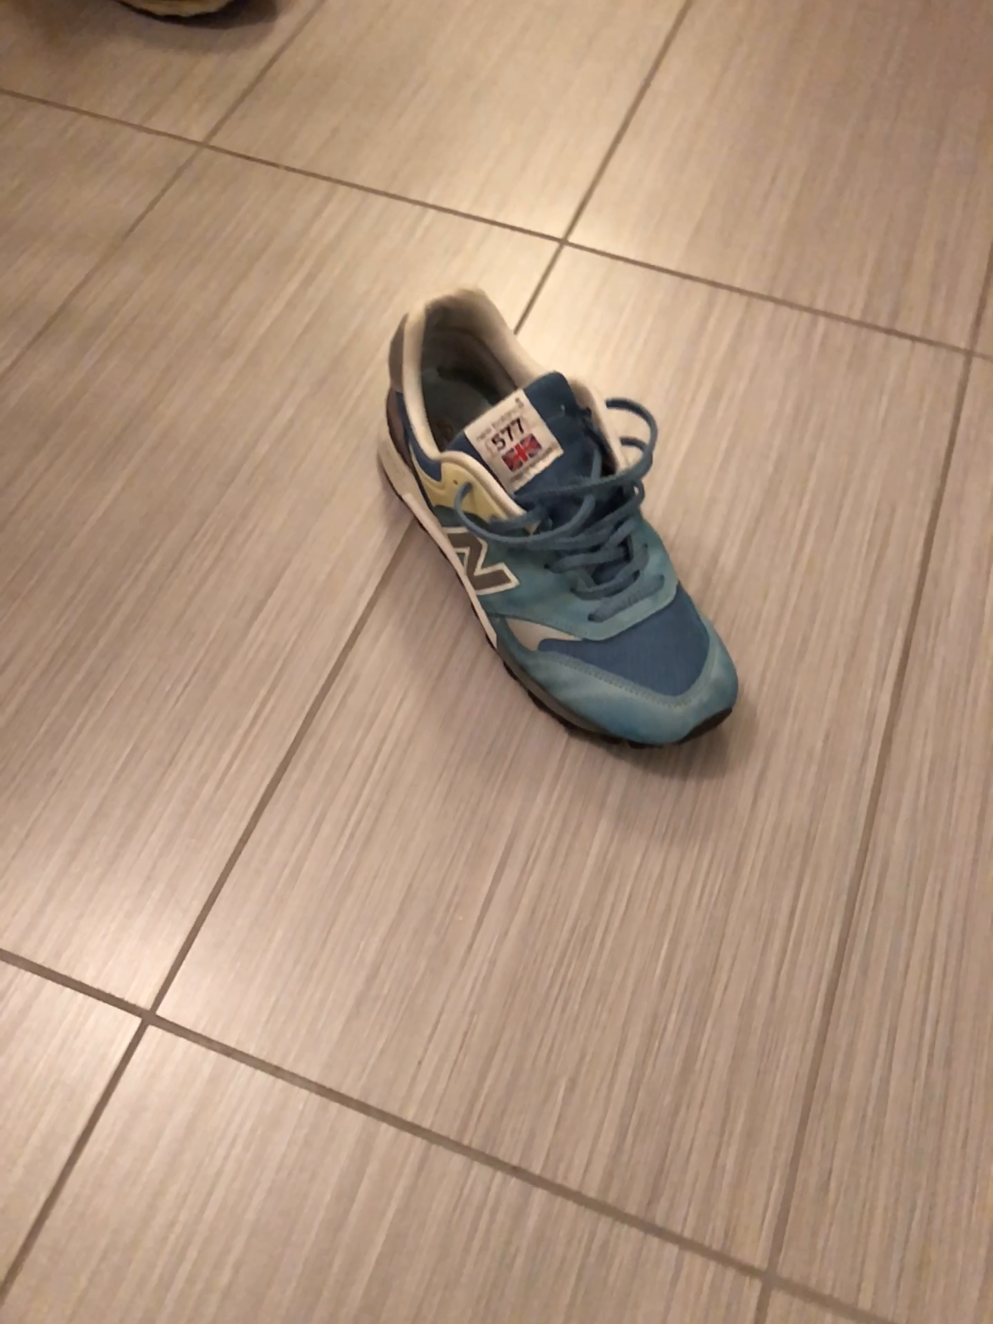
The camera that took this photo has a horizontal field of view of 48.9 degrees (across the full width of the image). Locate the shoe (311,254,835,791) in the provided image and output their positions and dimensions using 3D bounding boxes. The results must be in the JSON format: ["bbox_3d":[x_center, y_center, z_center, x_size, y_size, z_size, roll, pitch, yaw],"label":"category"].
[{"bbox_3d":[0.030,-0.091,0.611,0.130,0.070,0.301,-29,64,-17],"label":"shoe"}]
